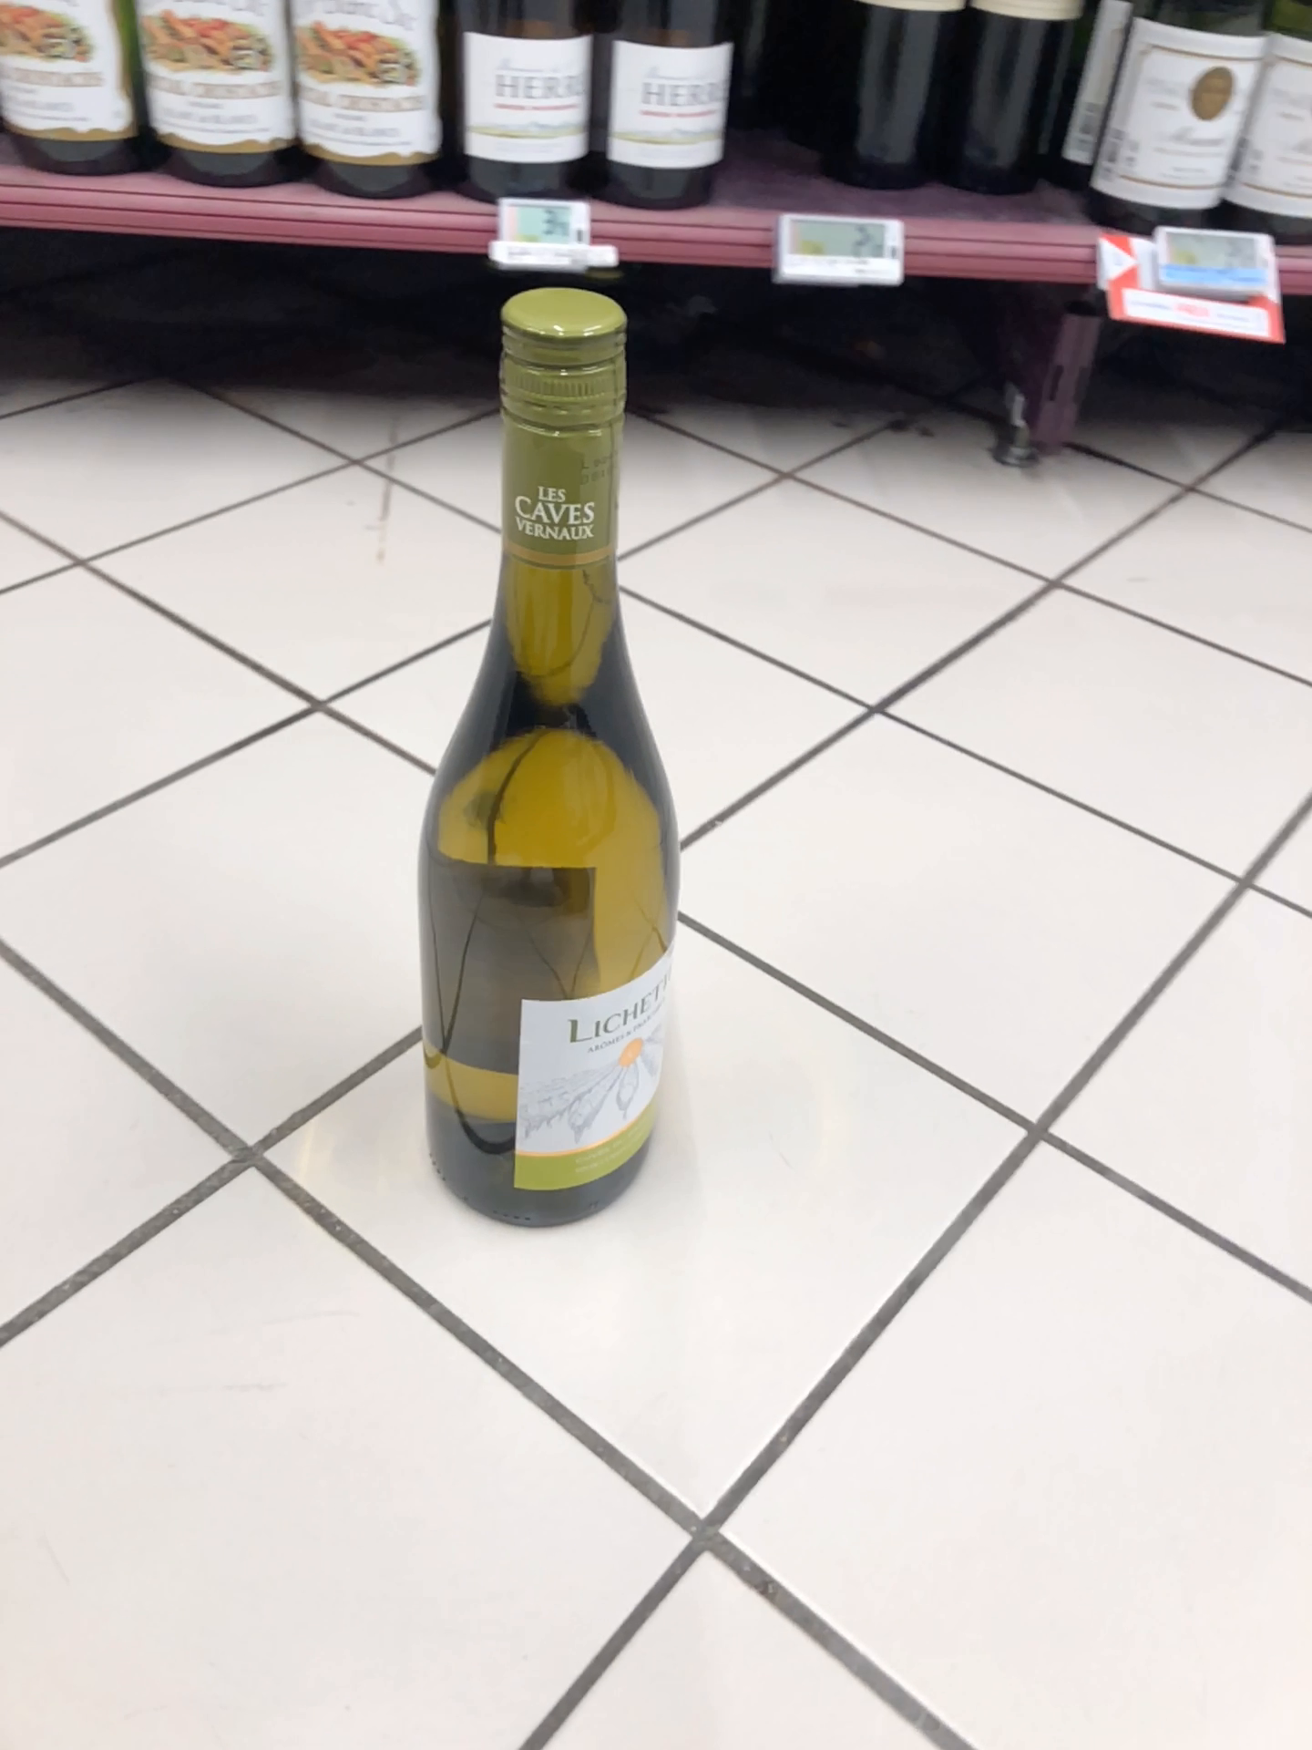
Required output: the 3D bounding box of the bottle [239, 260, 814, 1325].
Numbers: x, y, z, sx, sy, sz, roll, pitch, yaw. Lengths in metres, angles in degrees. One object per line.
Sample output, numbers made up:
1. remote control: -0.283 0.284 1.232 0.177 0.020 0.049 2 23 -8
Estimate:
1. bottle: -0.038 -0.009 0.408 0.090 0.278 0.091 3 39 -3
